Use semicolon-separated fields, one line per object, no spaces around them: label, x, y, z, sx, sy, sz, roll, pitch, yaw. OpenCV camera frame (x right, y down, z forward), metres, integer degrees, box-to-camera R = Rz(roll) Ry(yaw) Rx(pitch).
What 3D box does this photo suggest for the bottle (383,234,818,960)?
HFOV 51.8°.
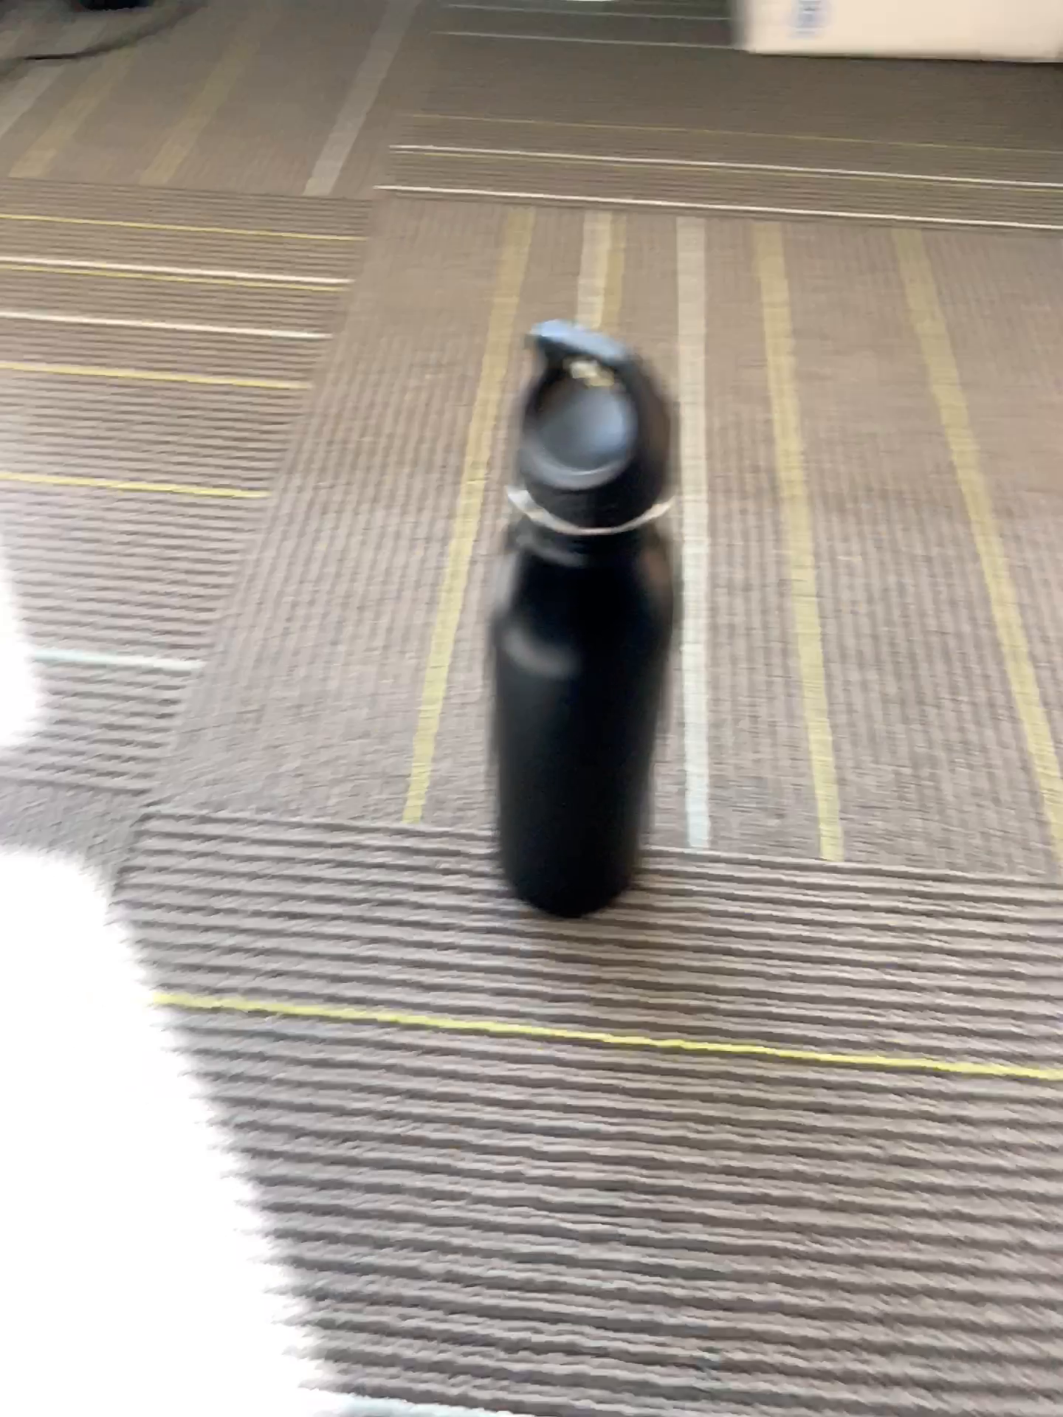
bottle;0.016;-0.021;0.396;0.080;0.249;0.090;-31;58;-24
